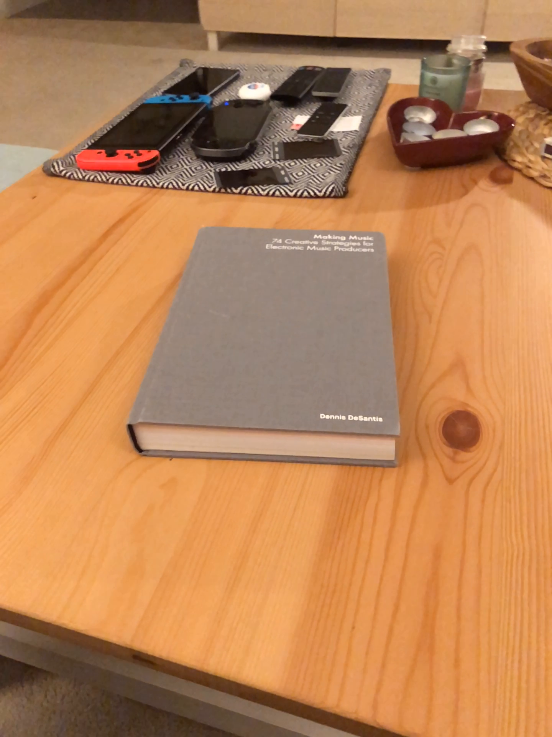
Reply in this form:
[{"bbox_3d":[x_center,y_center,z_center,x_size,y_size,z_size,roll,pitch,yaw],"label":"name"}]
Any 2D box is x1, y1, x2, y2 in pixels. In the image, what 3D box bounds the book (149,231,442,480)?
[{"bbox_3d":[0.022,-0.026,0.438,0.166,0.030,0.229,3,42,6],"label":"book"}]
